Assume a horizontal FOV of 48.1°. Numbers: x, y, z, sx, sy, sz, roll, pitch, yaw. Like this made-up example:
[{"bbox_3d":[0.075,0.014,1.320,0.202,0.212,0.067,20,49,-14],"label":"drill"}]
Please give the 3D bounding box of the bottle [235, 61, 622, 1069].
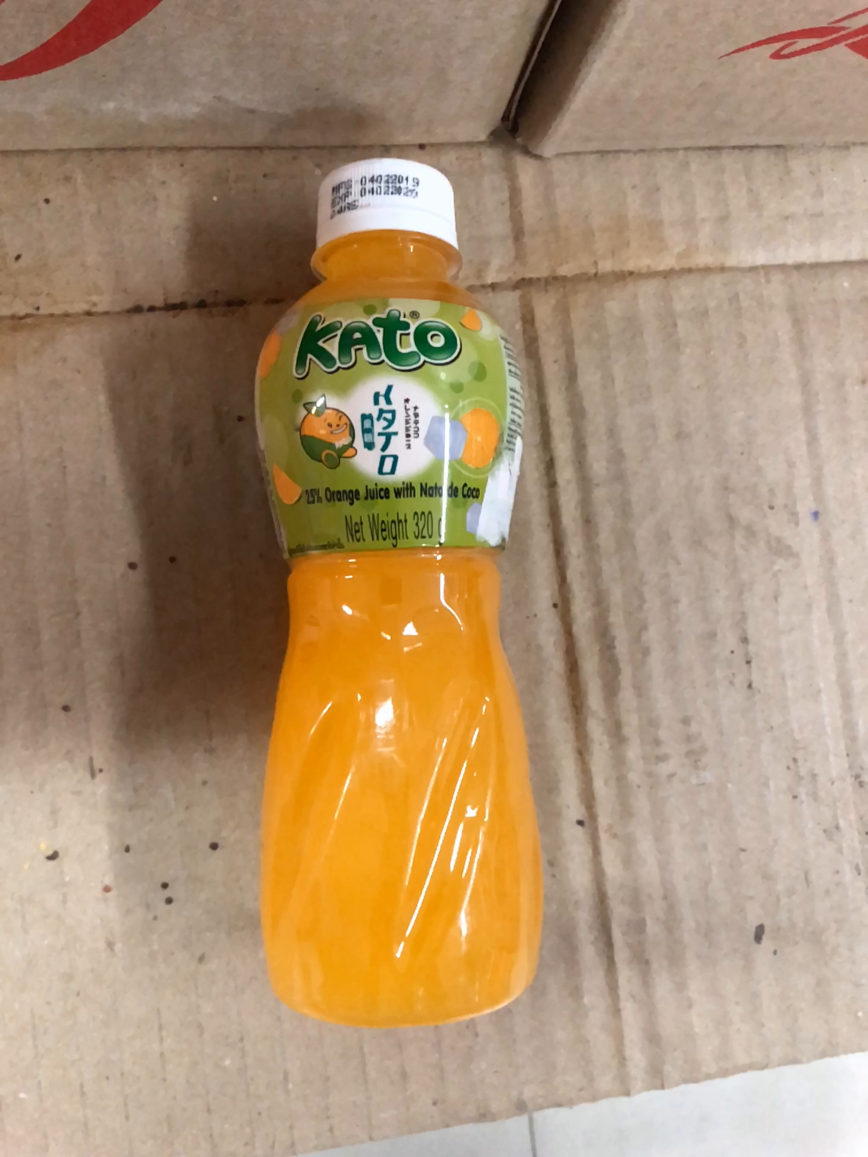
[{"bbox_3d":[-0.005,-0.004,0.217,0.070,0.060,0.190,-1,87,-7],"label":"bottle"}]
